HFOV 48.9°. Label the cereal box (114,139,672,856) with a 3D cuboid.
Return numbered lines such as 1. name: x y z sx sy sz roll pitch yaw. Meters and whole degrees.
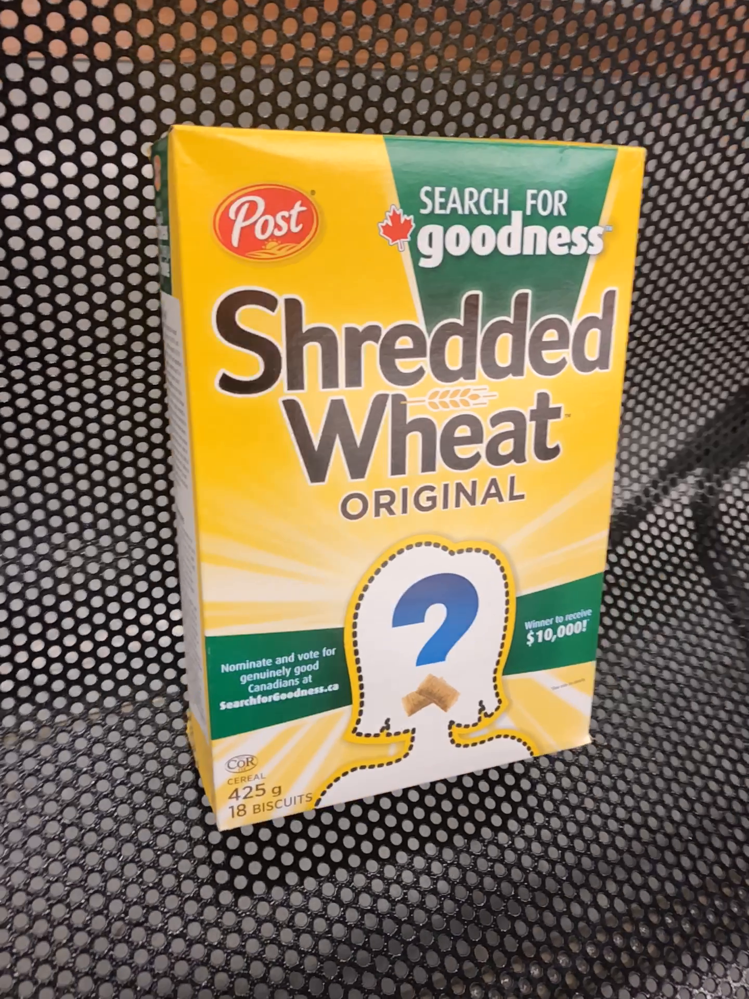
1. cereal box: 0.006 -0.008 0.381 0.210 0.279 0.090 -7 19 -20
